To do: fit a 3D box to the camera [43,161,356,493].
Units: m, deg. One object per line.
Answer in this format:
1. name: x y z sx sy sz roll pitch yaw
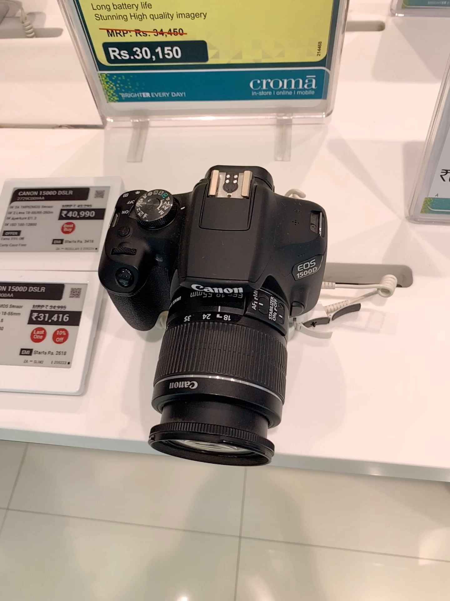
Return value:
1. camera: 0.000 0.013 0.231 0.110 0.090 0.130 4 61 7
